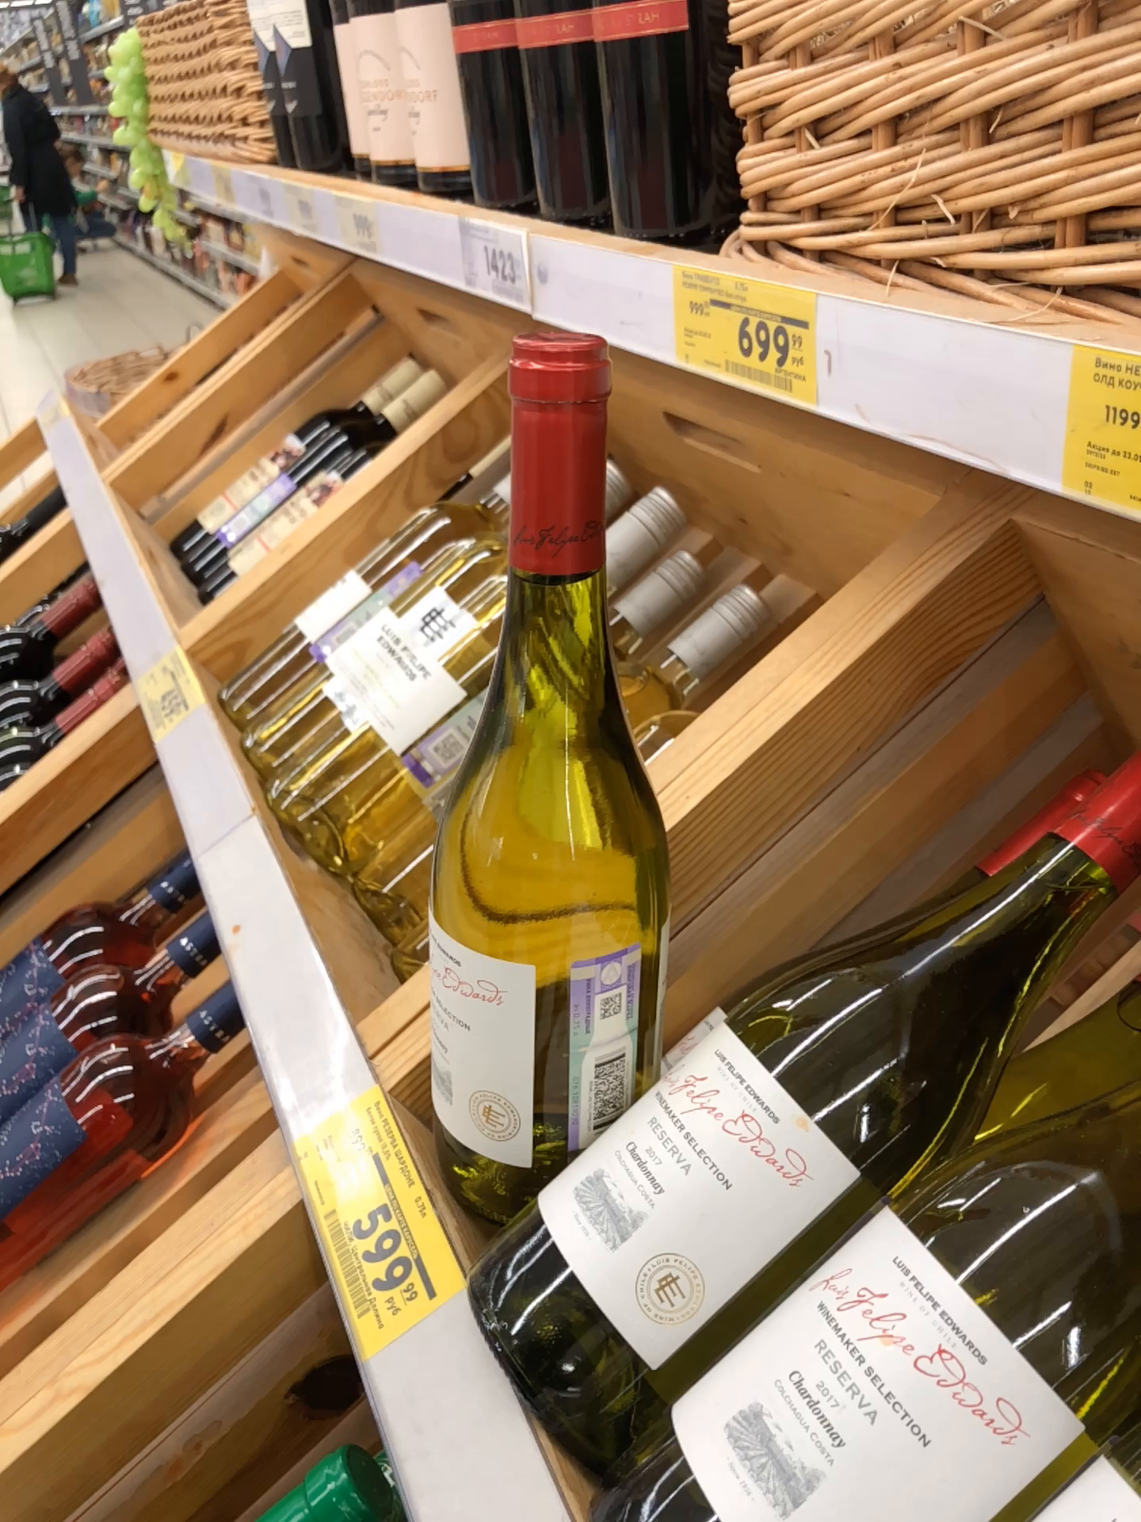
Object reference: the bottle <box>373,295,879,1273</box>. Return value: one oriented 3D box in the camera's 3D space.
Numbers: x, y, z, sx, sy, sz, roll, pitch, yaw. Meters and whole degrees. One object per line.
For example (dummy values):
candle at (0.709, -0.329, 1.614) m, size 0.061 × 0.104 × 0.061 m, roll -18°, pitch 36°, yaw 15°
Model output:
bottle at (0.002, 0.010, 0.410) m, size 0.100 × 0.289 × 0.100 m, roll 5°, pitch 24°, yaw -2°
